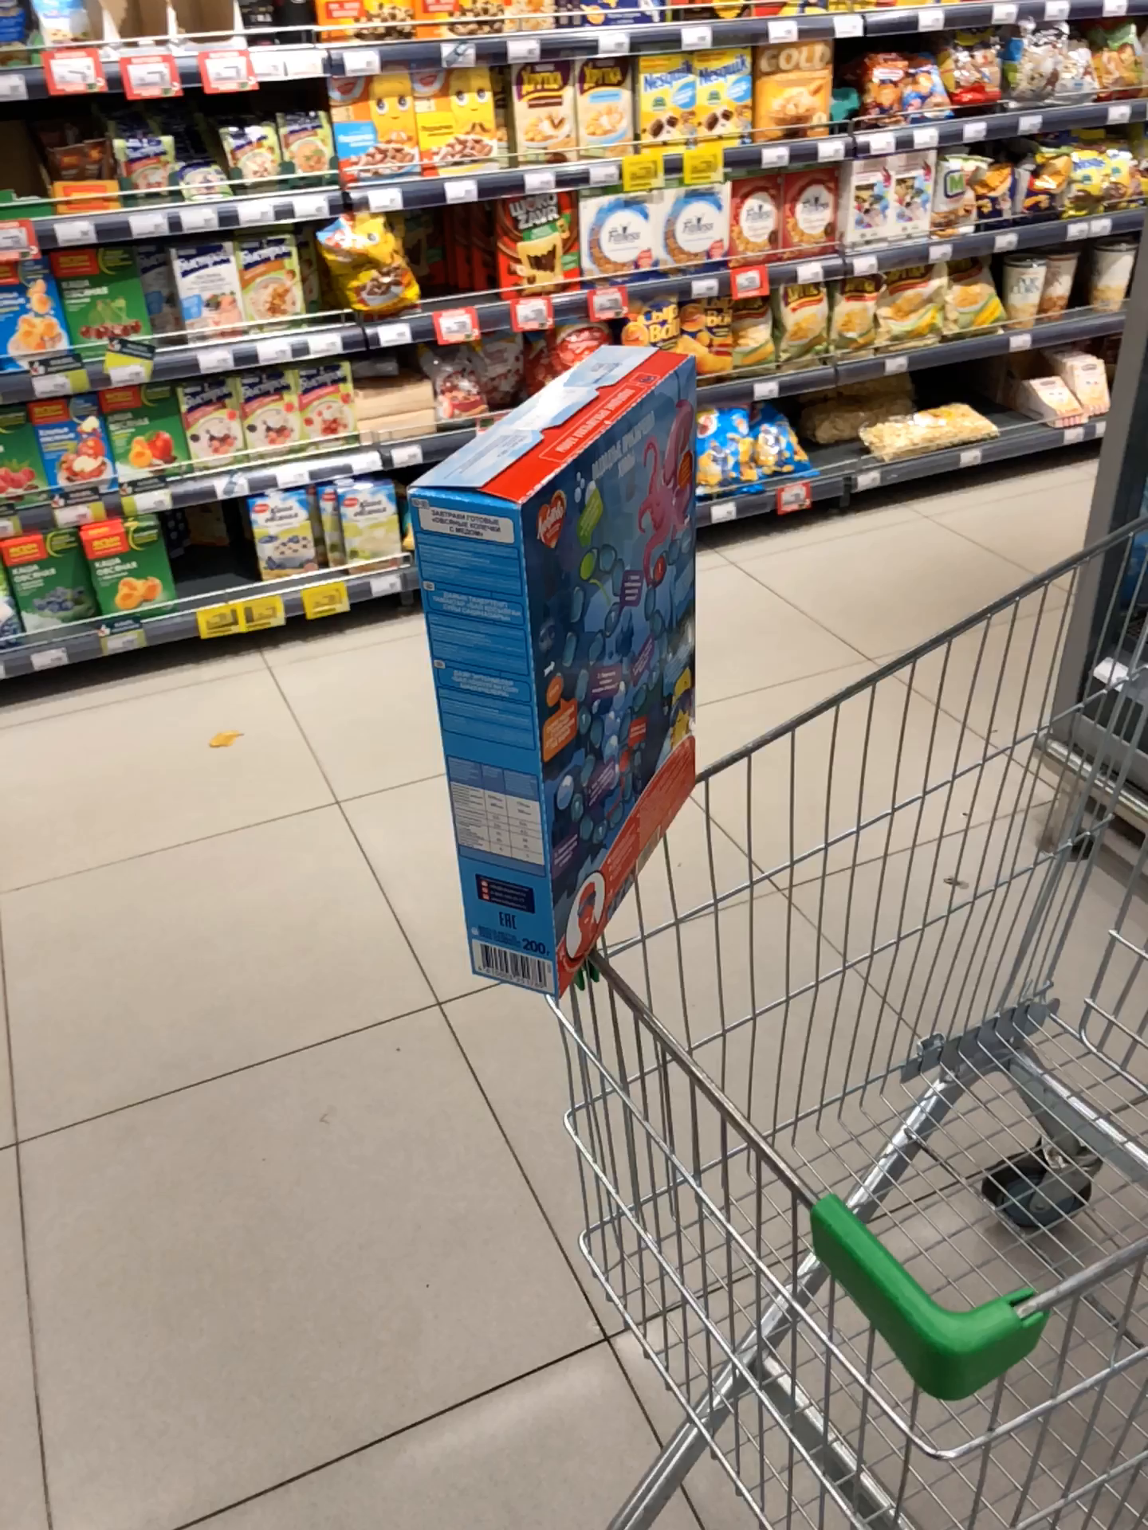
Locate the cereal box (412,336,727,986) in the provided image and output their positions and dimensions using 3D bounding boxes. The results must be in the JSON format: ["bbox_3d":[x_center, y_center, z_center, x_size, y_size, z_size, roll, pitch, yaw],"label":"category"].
[{"bbox_3d":[0.013,-0.056,0.621,0.060,0.248,0.201,12,37,22],"label":"cereal box"}]
